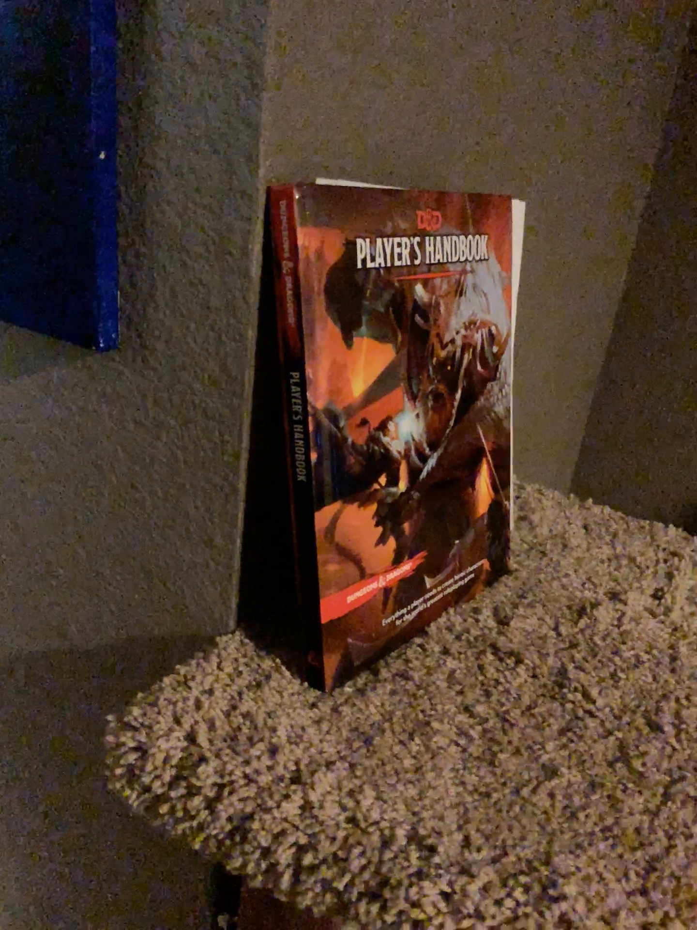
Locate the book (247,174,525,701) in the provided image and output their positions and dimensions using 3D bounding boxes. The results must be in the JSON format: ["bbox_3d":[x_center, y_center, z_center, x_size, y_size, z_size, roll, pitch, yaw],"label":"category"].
[{"bbox_3d":[0.037,-0.030,0.510,0.040,0.290,0.230,13,21,37],"label":"book"}]
